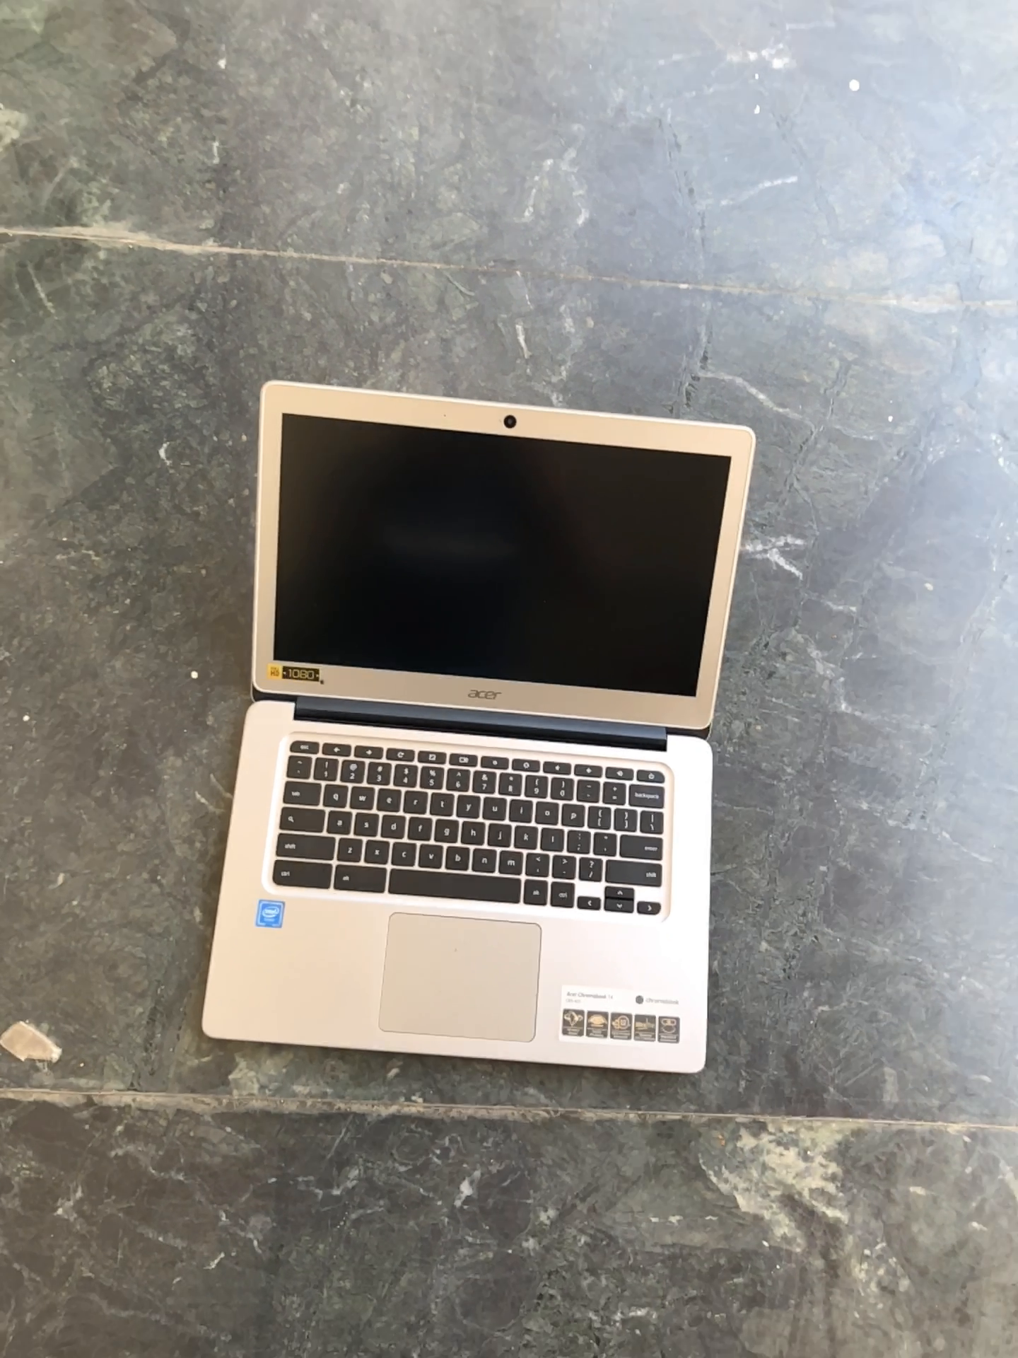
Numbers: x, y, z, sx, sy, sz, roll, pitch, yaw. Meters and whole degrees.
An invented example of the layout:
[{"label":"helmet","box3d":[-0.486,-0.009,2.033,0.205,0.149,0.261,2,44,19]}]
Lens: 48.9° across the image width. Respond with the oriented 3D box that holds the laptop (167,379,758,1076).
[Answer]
[{"label":"laptop","box3d":[-0.016,0.031,0.761,0.338,0.117,0.424,5,74,-2]}]
